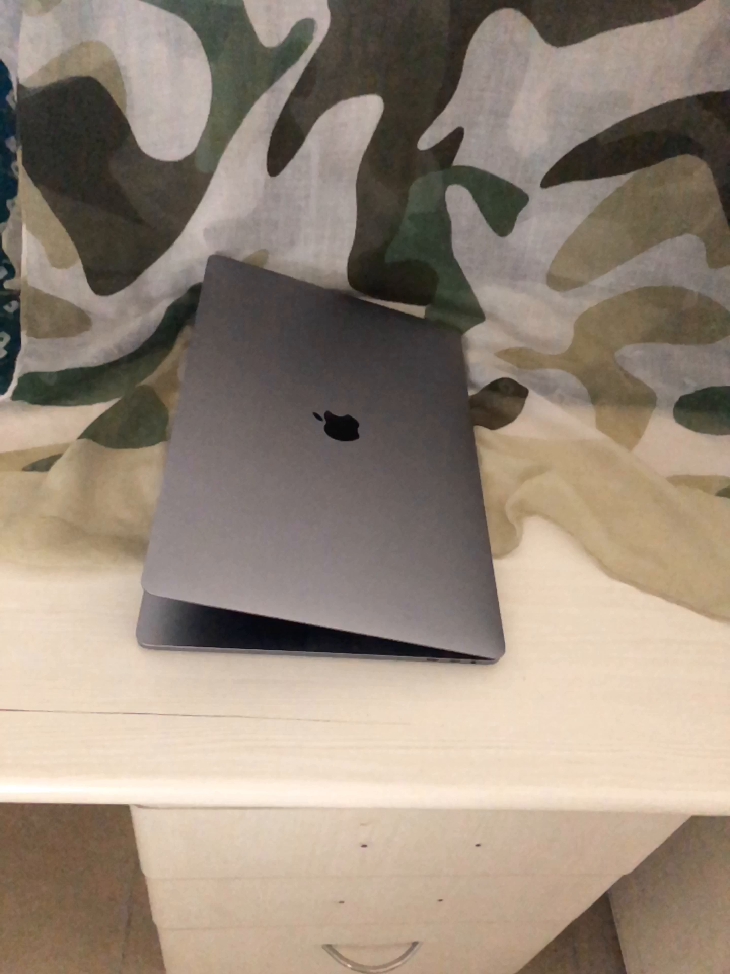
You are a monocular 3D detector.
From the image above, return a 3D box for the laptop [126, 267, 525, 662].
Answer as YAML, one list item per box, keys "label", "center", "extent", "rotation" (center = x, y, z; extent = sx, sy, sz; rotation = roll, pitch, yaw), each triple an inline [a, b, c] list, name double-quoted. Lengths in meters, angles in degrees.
- label: "laptop"
  center: [-0.024, -0.038, 0.612]
  extent: [0.236, 0.058, 0.340]
  rotation: [4, 47, -5]
